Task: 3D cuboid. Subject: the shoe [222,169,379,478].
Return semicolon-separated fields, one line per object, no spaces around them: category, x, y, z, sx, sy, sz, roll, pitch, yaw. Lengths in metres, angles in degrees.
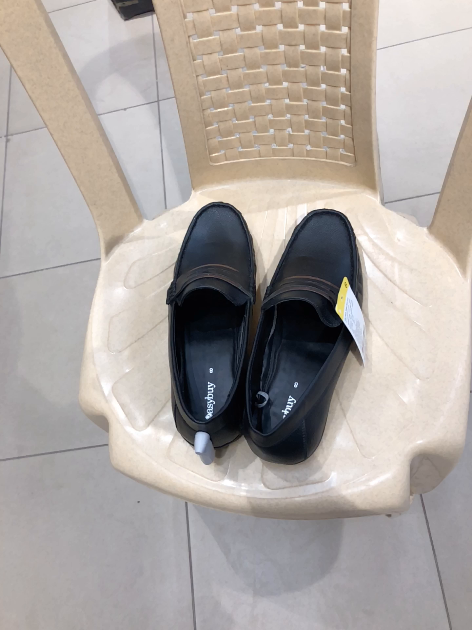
shoe;0.073;0.004;0.517;0.100;0.088;0.283;7;72;15

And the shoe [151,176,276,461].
shoe;-0.019;0.004;0.542;0.100;0.088;0.276;-5;69;11
